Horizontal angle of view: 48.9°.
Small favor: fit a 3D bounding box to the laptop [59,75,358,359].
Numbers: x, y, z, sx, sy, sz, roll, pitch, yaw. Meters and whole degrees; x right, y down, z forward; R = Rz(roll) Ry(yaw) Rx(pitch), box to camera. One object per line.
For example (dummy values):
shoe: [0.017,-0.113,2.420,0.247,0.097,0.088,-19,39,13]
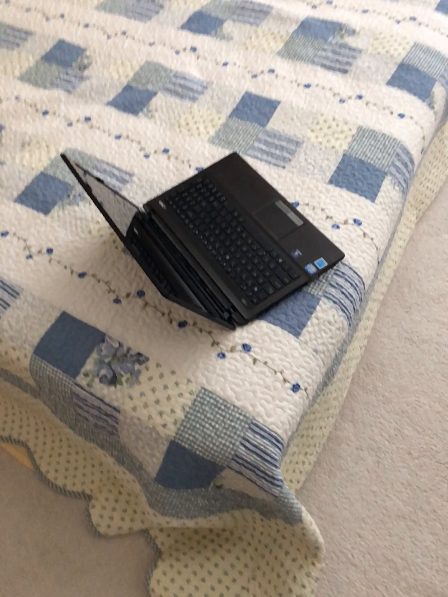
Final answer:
laptop: [-0.030,-0.160,0.879,0.350,0.193,0.359,-32,60,-14]
